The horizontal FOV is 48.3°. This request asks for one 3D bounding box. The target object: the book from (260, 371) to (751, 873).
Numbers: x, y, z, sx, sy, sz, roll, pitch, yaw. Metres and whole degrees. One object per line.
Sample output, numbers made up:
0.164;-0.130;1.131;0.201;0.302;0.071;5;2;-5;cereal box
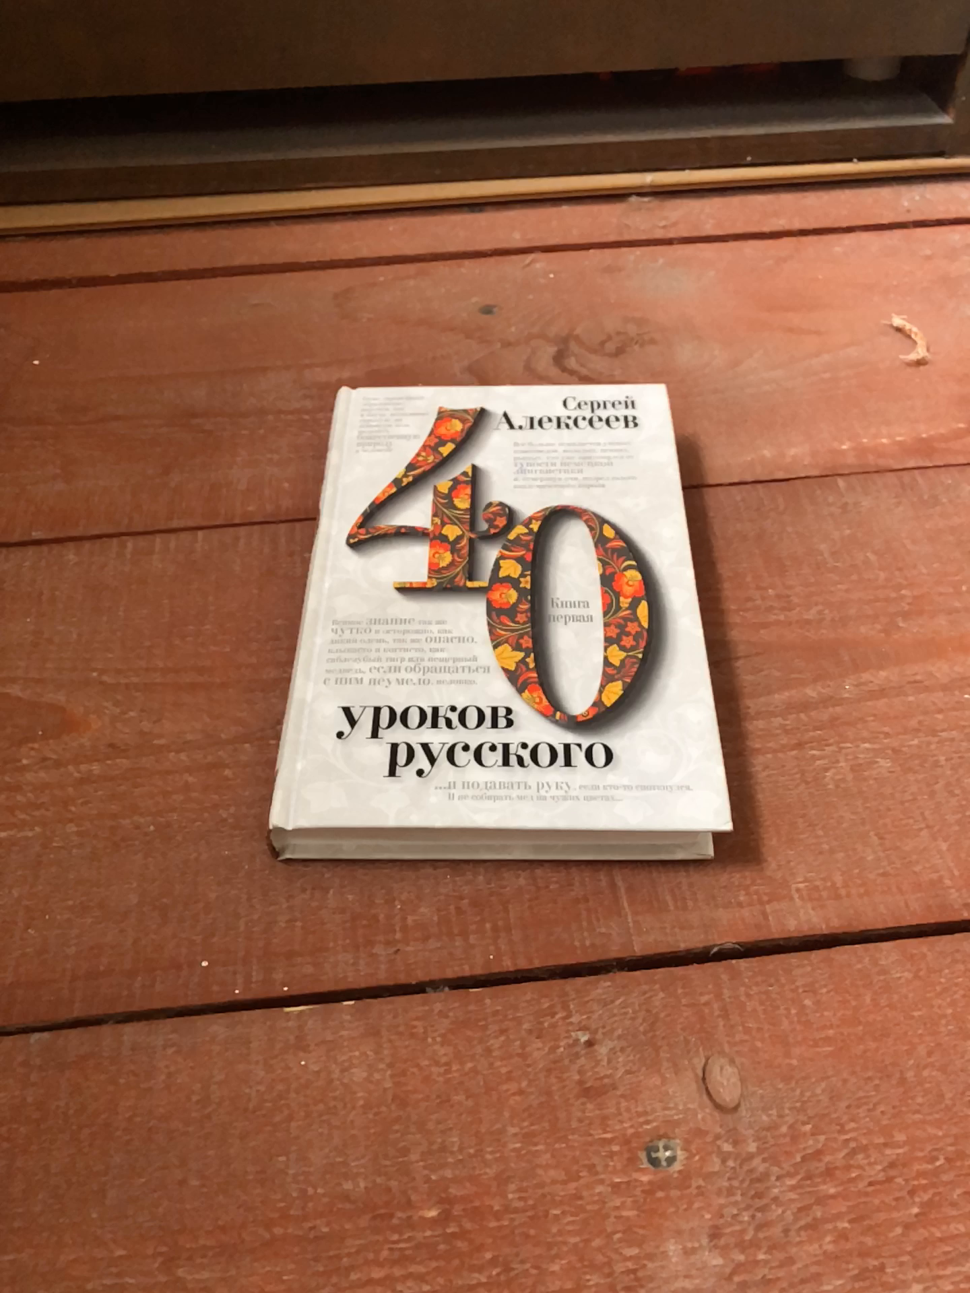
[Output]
0.007;-0.020;0.372;0.135;0.030;0.201;0;51;1;book
